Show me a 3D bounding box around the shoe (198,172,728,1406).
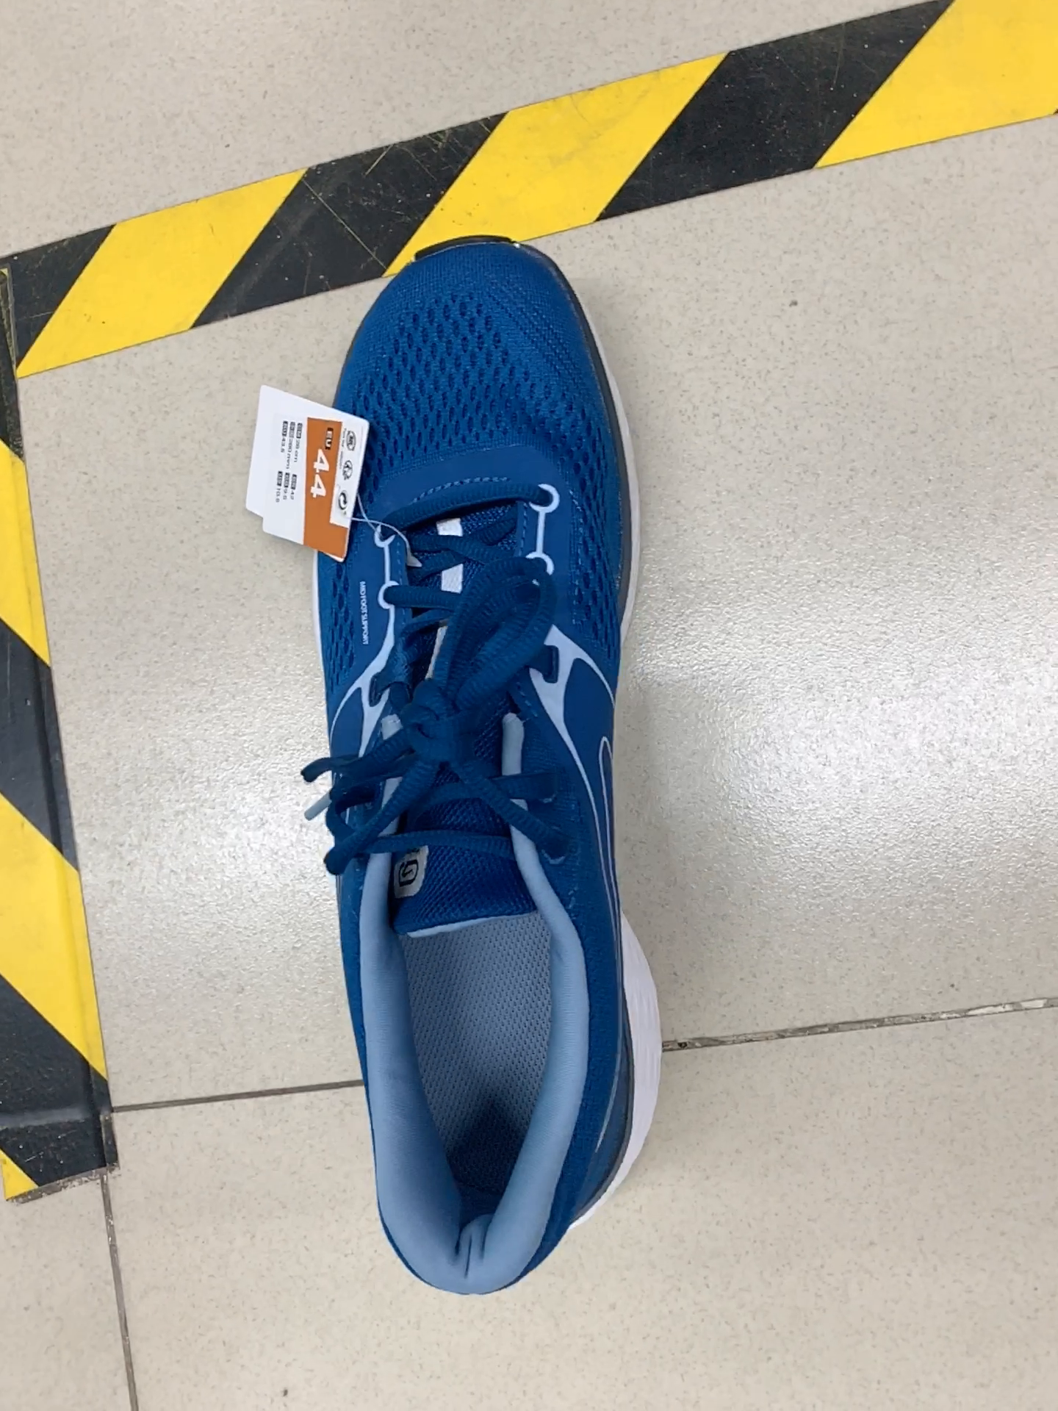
[{"bbox_3d":[-0.017,0.018,0.299,0.110,0.070,0.290,-6,82,10],"label":"shoe"}]
